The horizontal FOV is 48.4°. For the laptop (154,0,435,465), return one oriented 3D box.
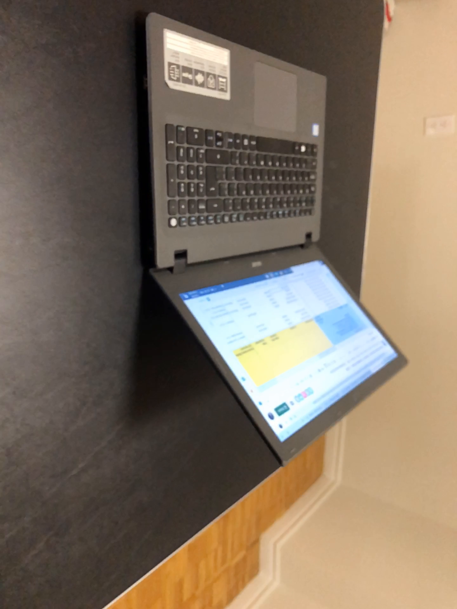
[{"bbox_3d":[0.102,-0.101,0.641,0.376,0.161,0.429,-16,111,-52],"label":"laptop"}]
